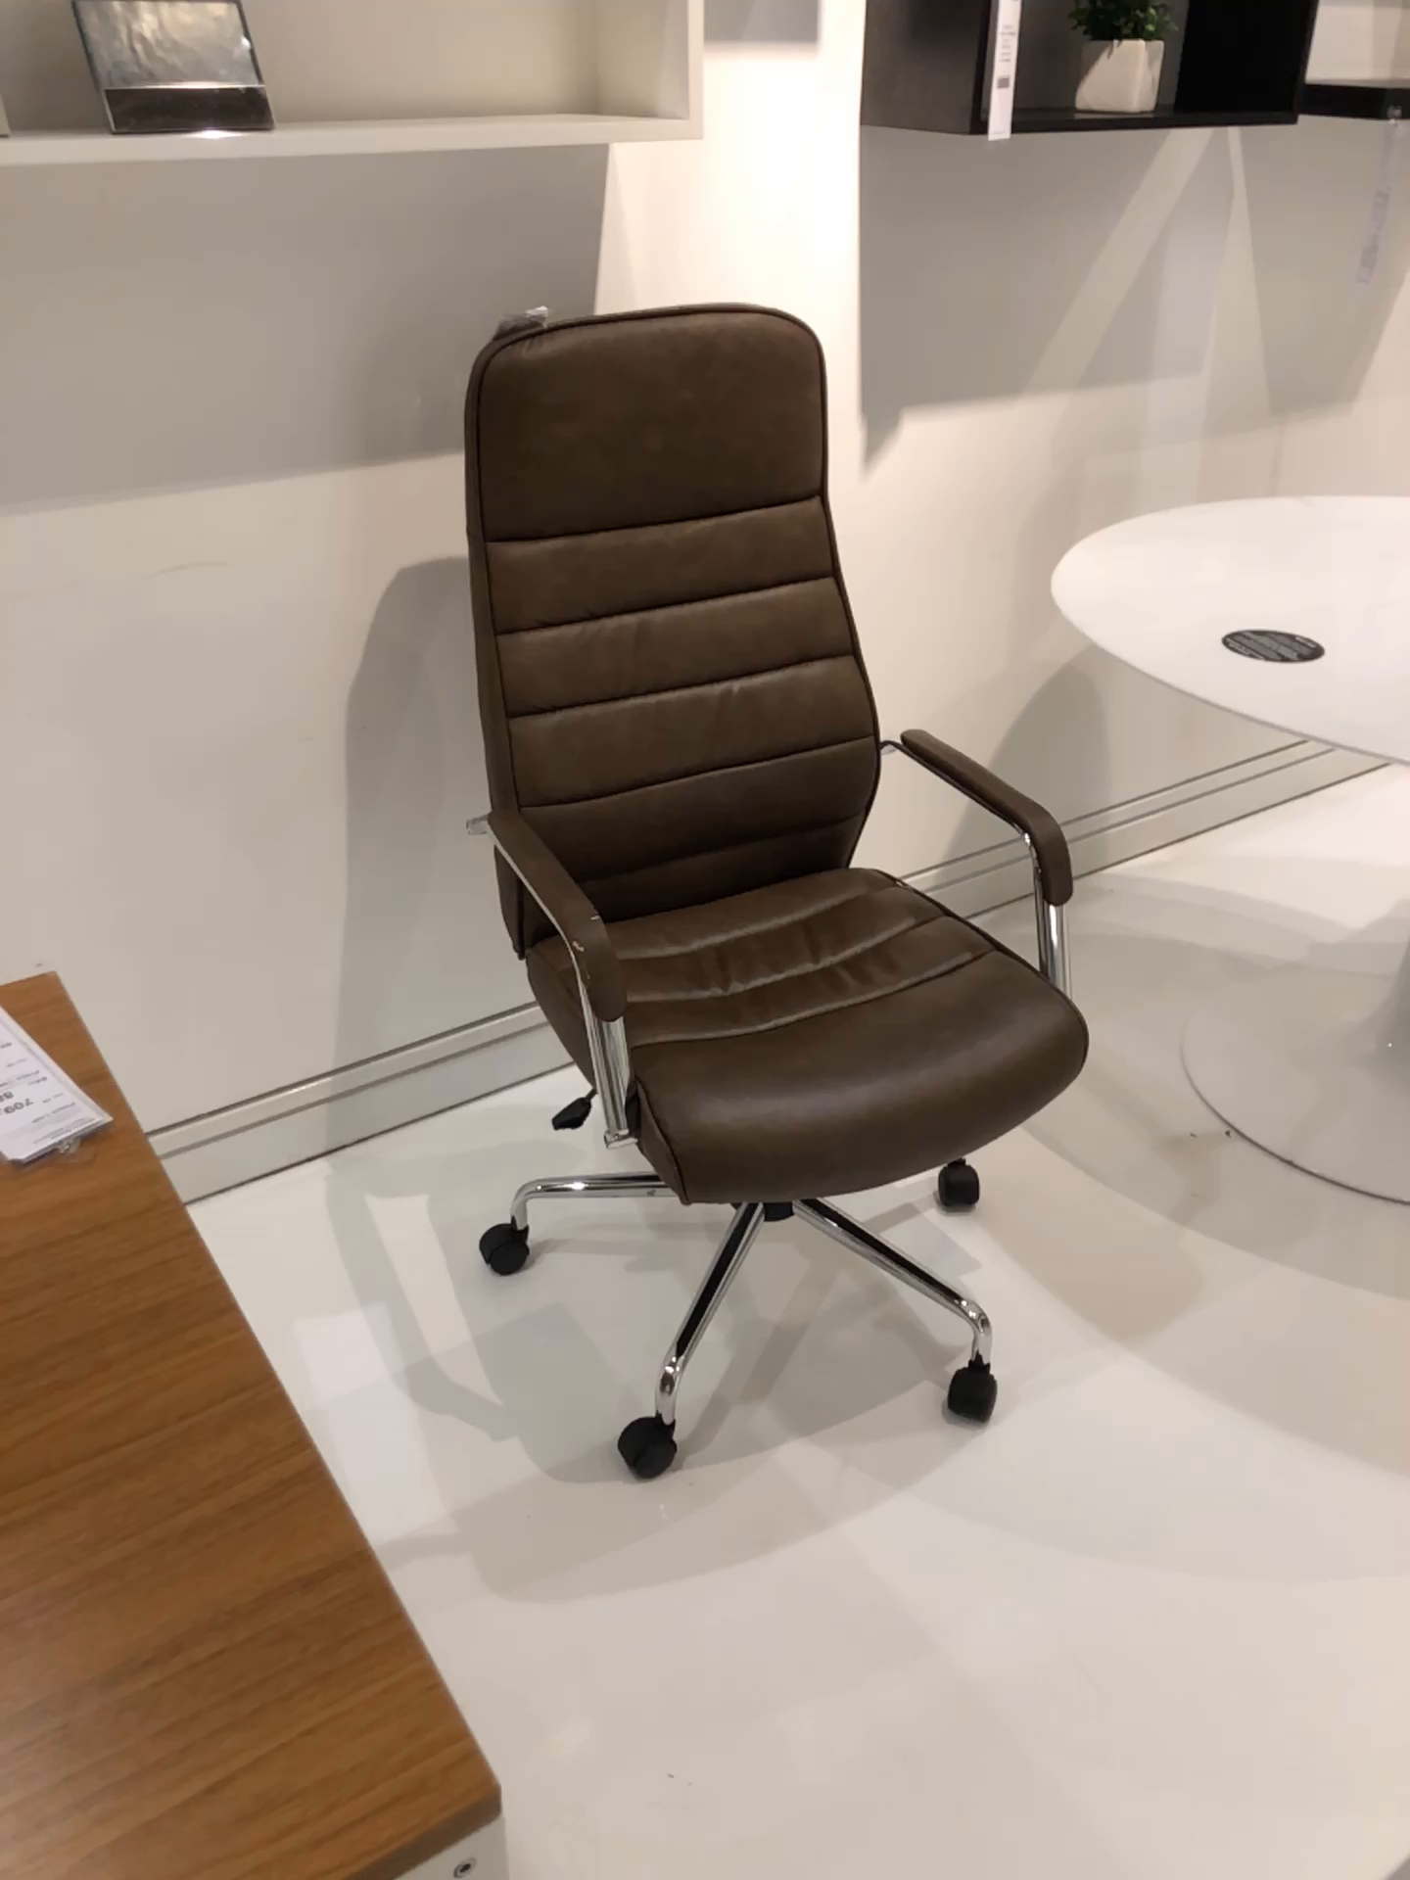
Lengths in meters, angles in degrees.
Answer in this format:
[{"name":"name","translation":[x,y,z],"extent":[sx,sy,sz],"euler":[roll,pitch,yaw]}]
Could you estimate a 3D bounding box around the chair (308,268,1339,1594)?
[{"name":"chair","translation":[0.055,-0.075,1.774],"extent":[0.701,1.171,0.784],"euler":[-13,32,-22]}]
